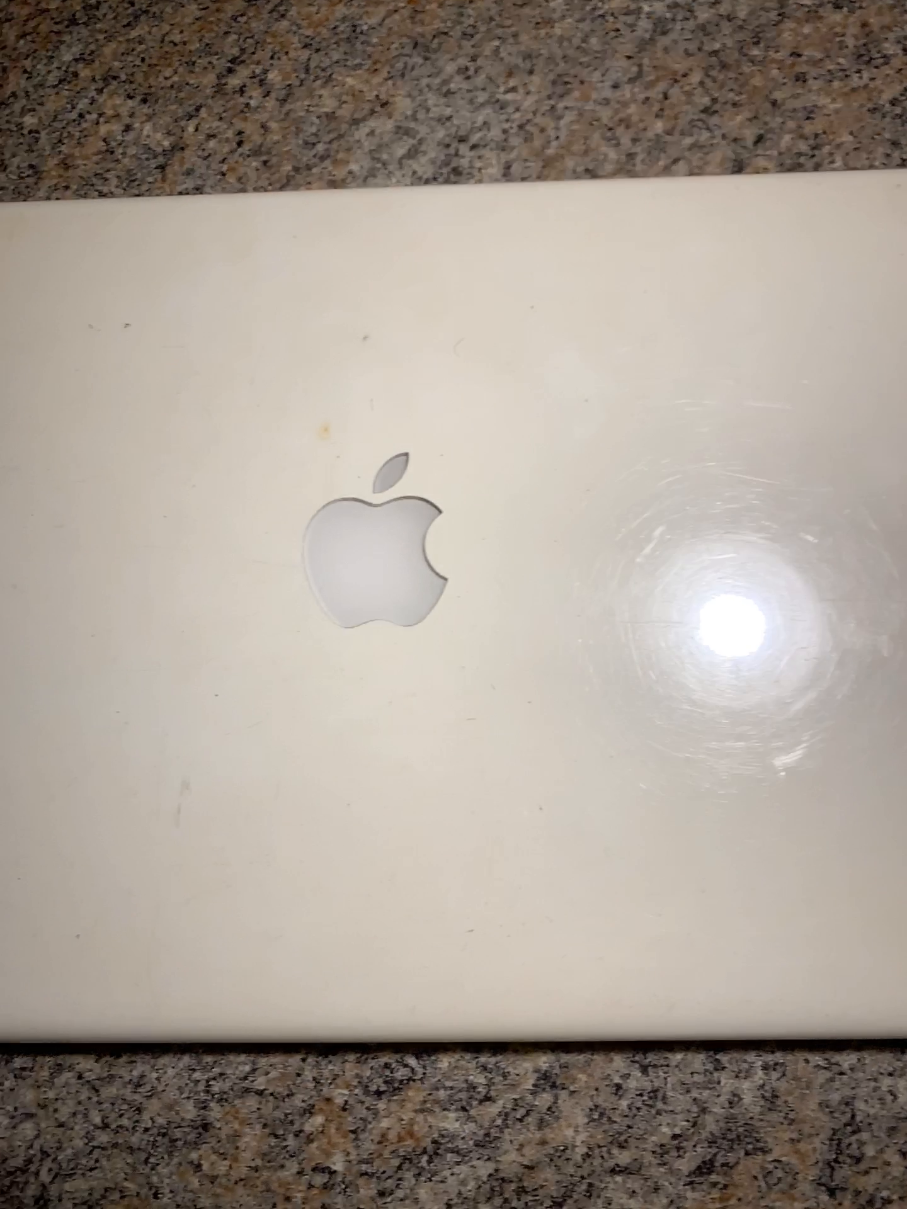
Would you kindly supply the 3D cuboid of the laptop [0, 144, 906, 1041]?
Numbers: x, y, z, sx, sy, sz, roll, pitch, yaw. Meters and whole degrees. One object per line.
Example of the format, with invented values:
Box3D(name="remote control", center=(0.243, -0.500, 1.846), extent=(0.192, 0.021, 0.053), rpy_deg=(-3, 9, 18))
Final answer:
Box3D(name="laptop", center=(-0.026, -0.010, 0.223), extent=(0.305, 0.002, 0.205), rpy_deg=(-2, 75, 6))
